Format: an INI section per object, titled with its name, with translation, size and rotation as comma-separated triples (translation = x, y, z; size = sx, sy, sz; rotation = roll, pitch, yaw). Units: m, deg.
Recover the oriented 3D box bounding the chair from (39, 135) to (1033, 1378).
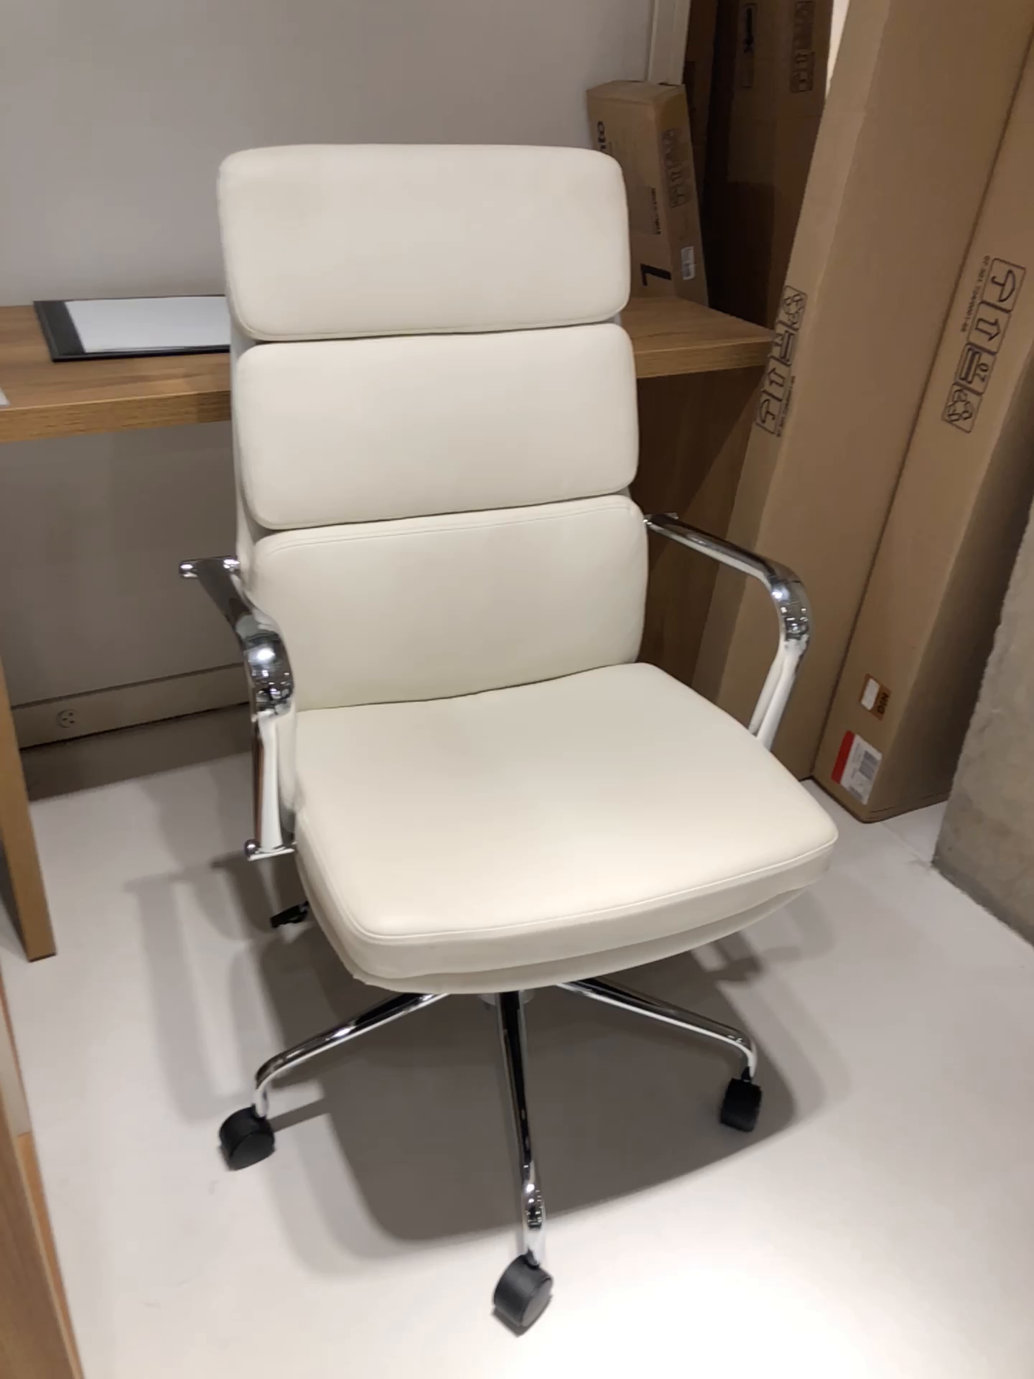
[chair]
translation = -0.039, 0.029, 1.185
size = 0.641, 1.032, 0.684
rotation = -11, 33, -23
